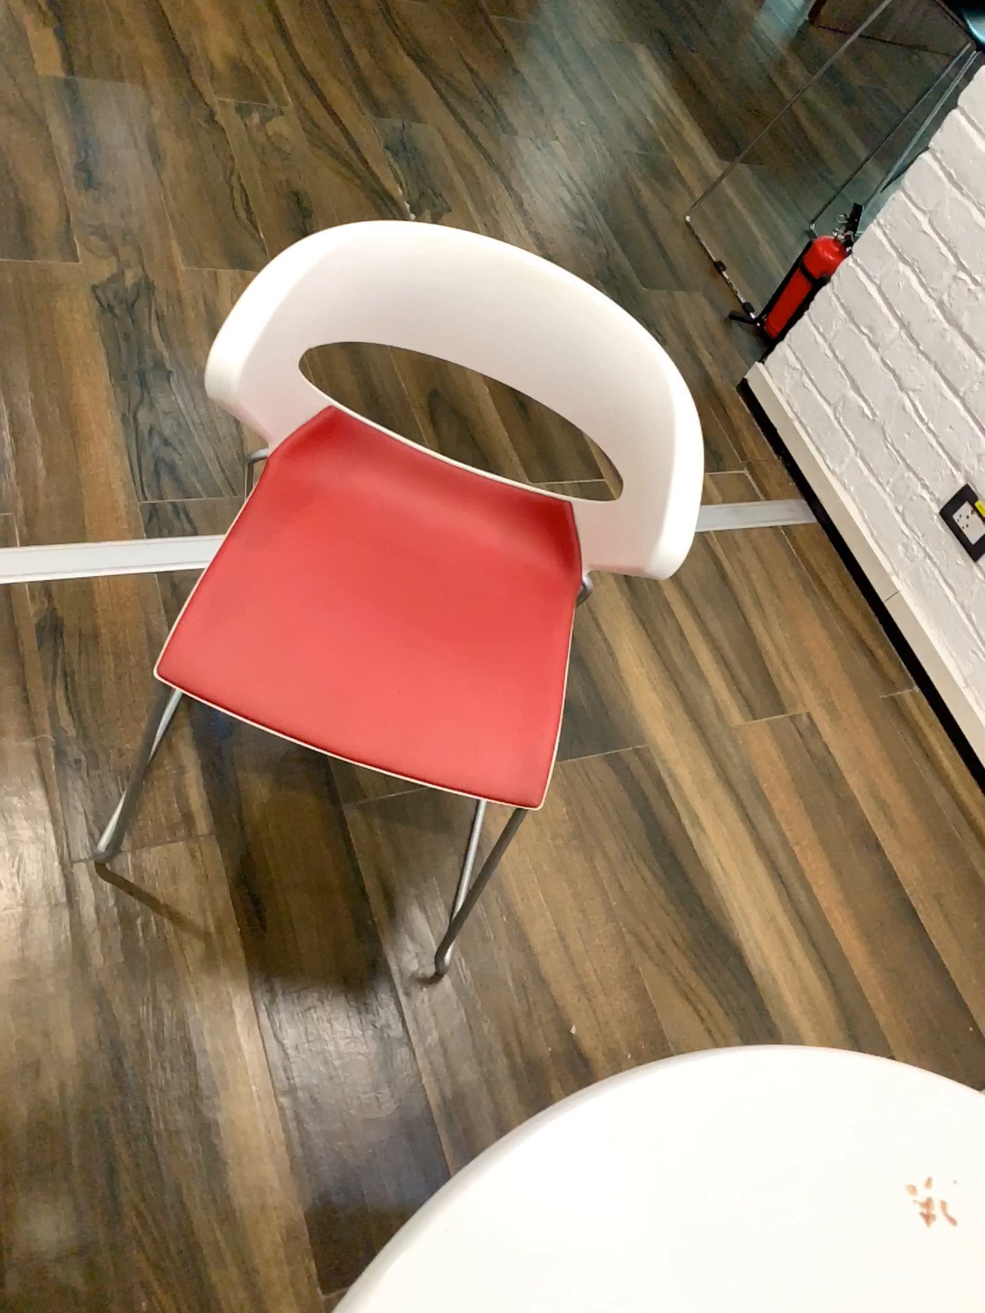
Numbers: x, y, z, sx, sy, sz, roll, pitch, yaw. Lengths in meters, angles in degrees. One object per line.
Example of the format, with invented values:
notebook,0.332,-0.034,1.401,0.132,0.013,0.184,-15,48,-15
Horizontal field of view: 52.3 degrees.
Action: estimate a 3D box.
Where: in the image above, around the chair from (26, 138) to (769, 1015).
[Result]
chair,-0.118,-0.052,1.239,0.590,0.676,0.644,22,52,-8
